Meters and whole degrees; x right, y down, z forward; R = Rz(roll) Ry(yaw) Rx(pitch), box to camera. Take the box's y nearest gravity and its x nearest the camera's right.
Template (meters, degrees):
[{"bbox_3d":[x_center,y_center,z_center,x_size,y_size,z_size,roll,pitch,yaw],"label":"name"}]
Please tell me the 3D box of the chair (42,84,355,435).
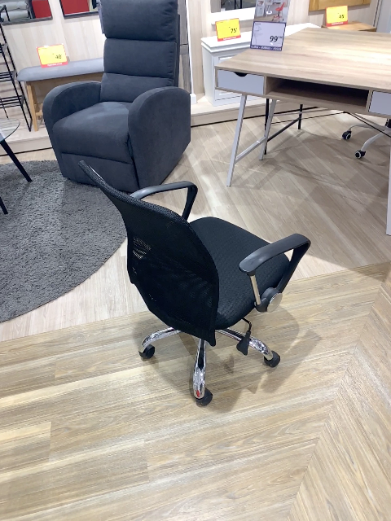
[{"bbox_3d":[0.022,-0.028,1.394,0.602,0.865,0.642,-34,48,-30],"label":"chair"}]
